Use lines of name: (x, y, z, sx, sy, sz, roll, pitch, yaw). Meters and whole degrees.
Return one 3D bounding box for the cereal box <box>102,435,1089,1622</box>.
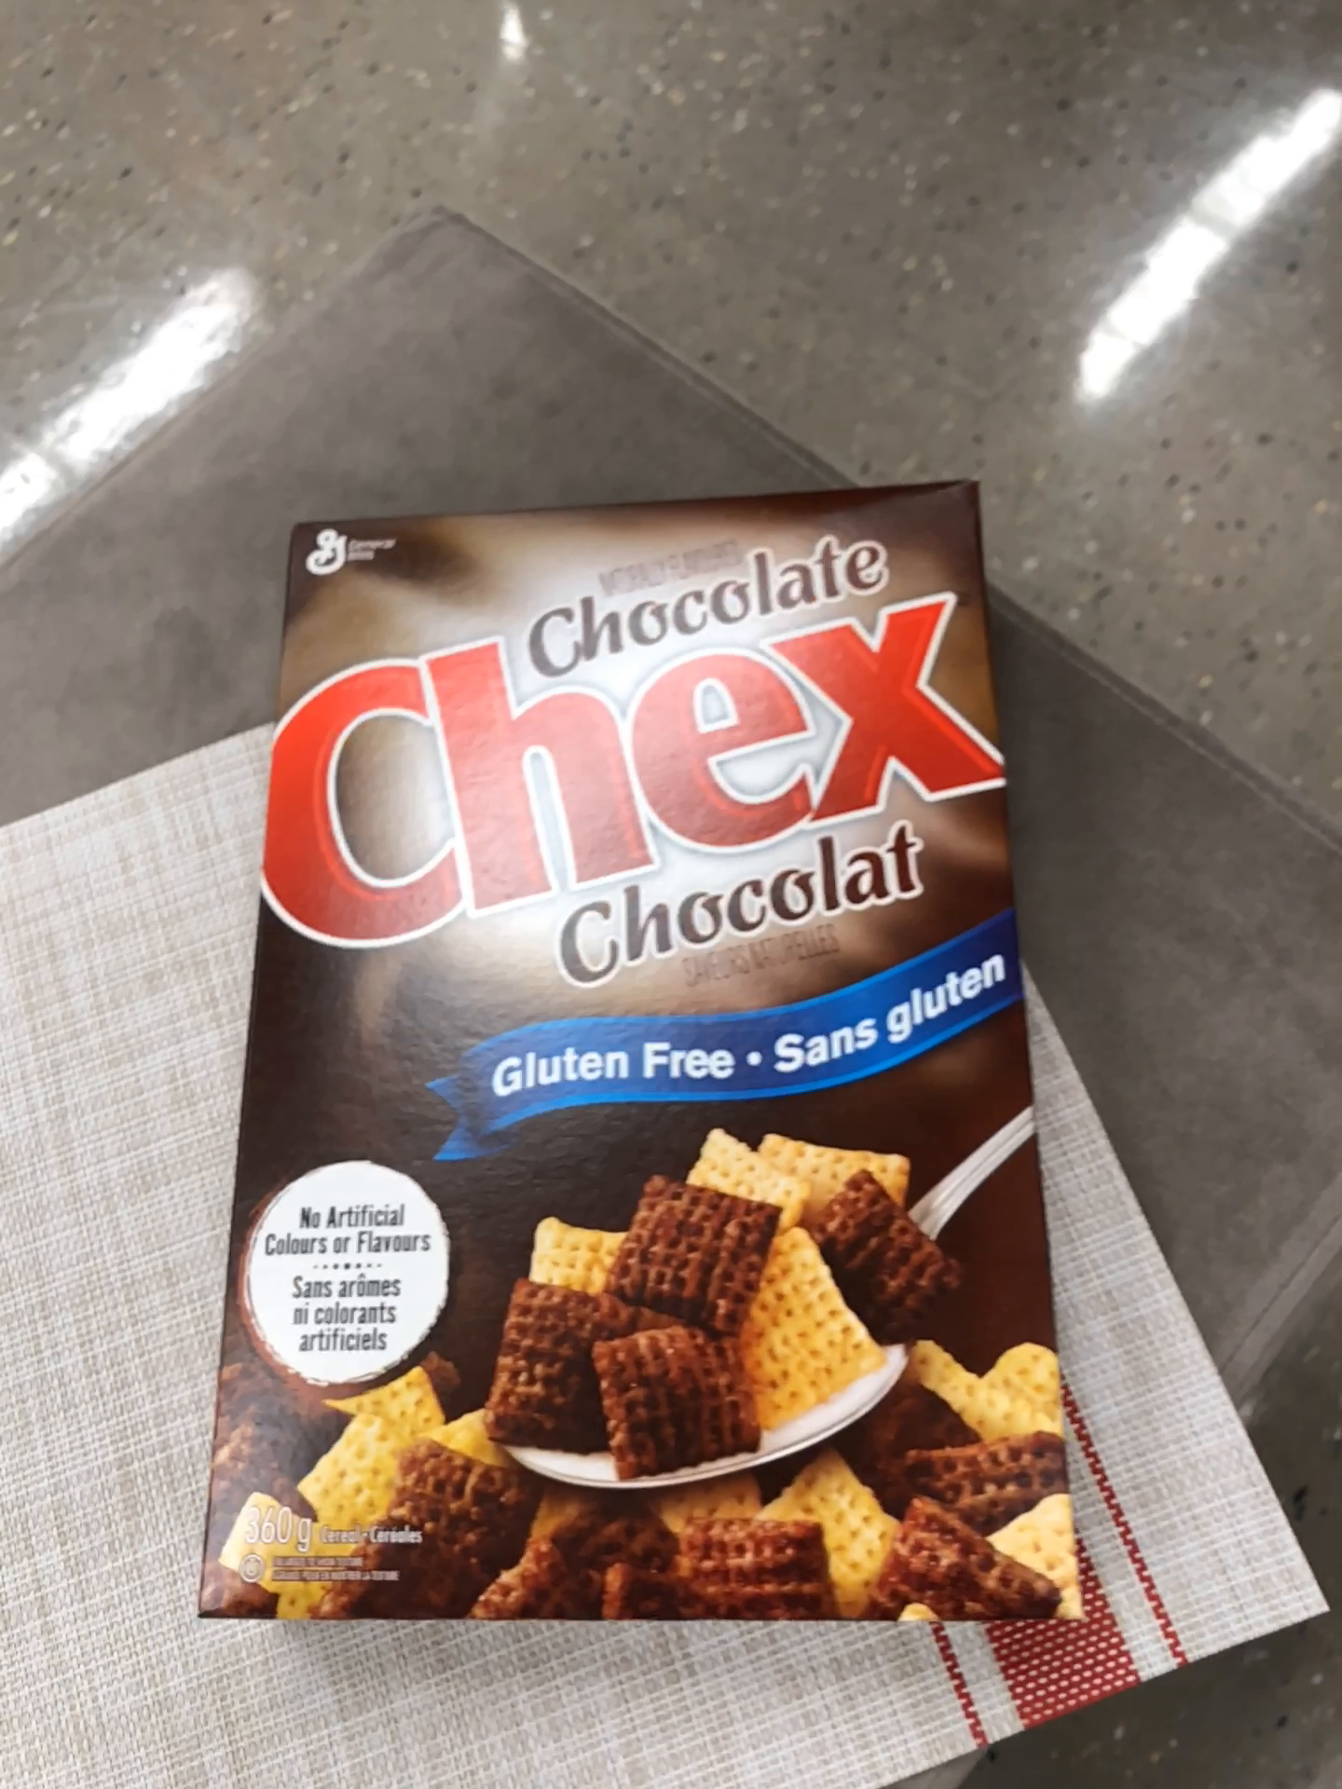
cereal box: (-0.018, 0.025, 0.389, 0.210, 0.050, 0.290, -2, 70, 5)
